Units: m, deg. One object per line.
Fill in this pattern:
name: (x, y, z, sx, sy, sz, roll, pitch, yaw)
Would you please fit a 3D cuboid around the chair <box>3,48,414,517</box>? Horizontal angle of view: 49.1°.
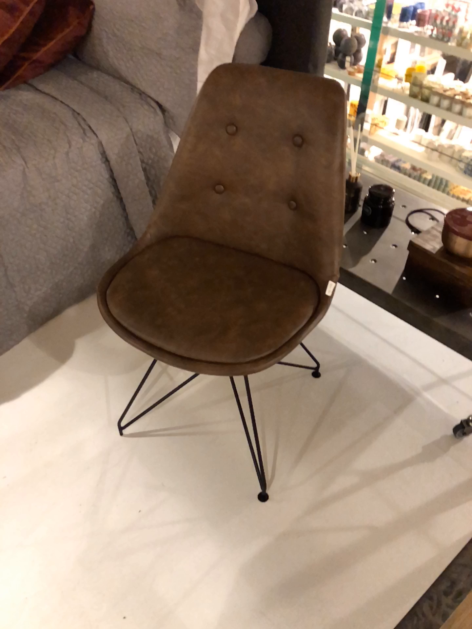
chair: (-0.014, -0.073, 1.157, 0.511, 0.754, 0.554, 20, 46, 19)
